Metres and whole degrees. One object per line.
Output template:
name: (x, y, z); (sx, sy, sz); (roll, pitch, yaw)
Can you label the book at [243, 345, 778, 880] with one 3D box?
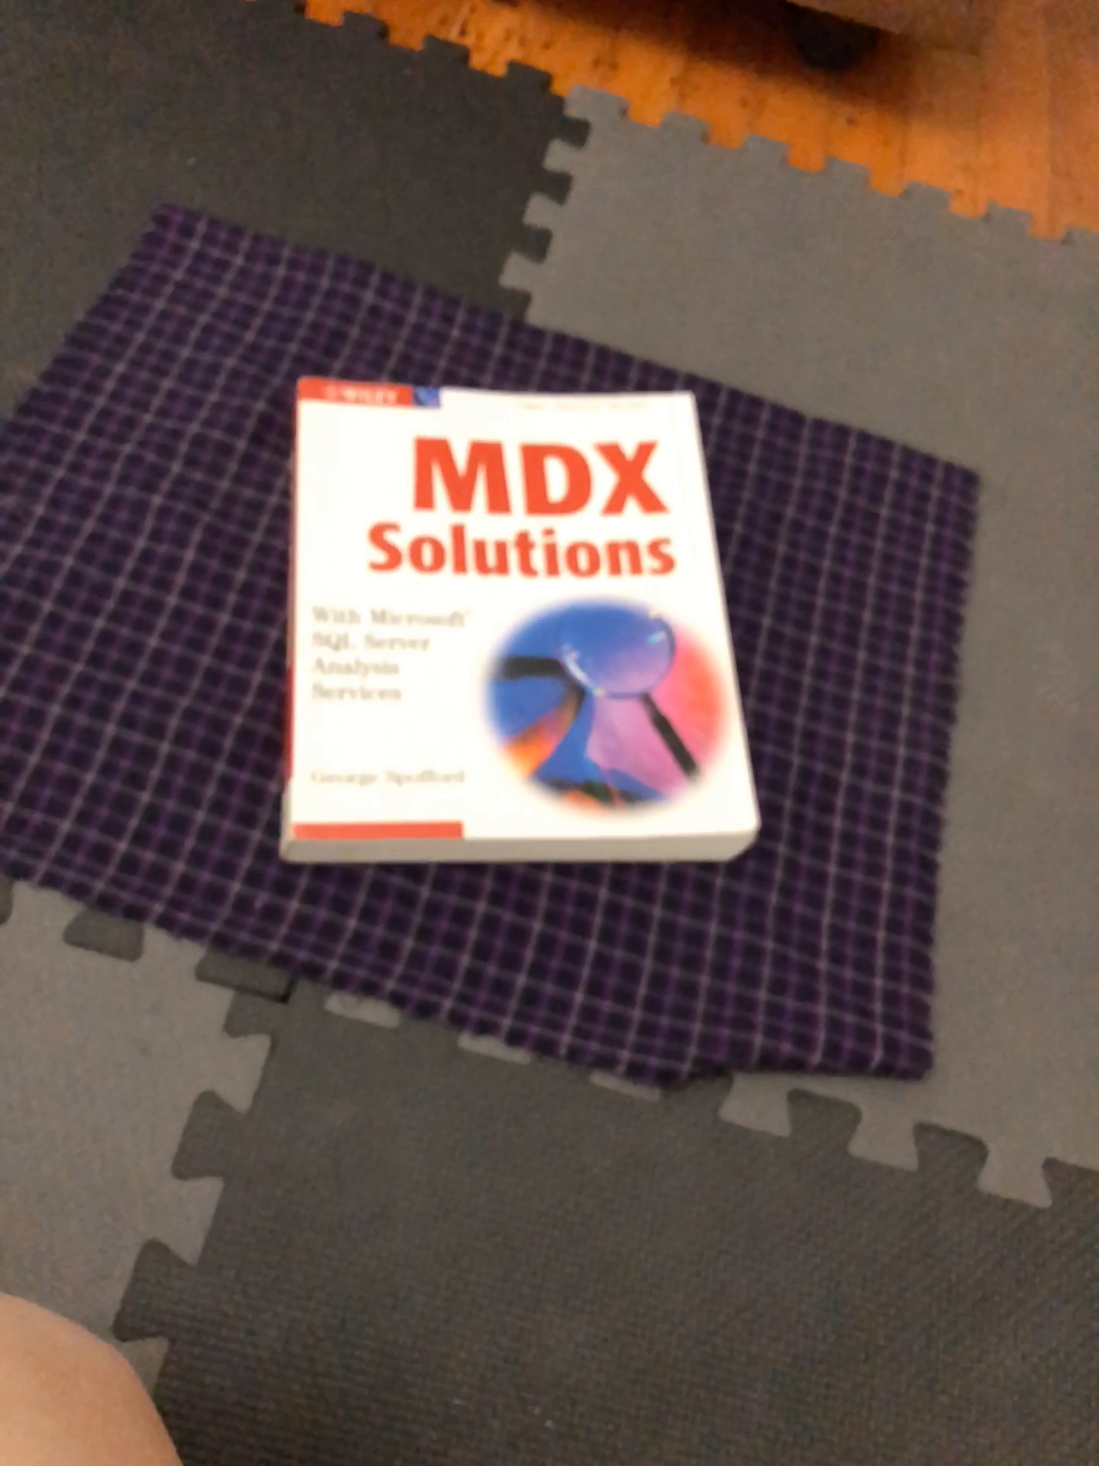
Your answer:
book: (-0.026, -0.063, 0.584); (0.220, 0.050, 0.261); (0, 61, -10)
